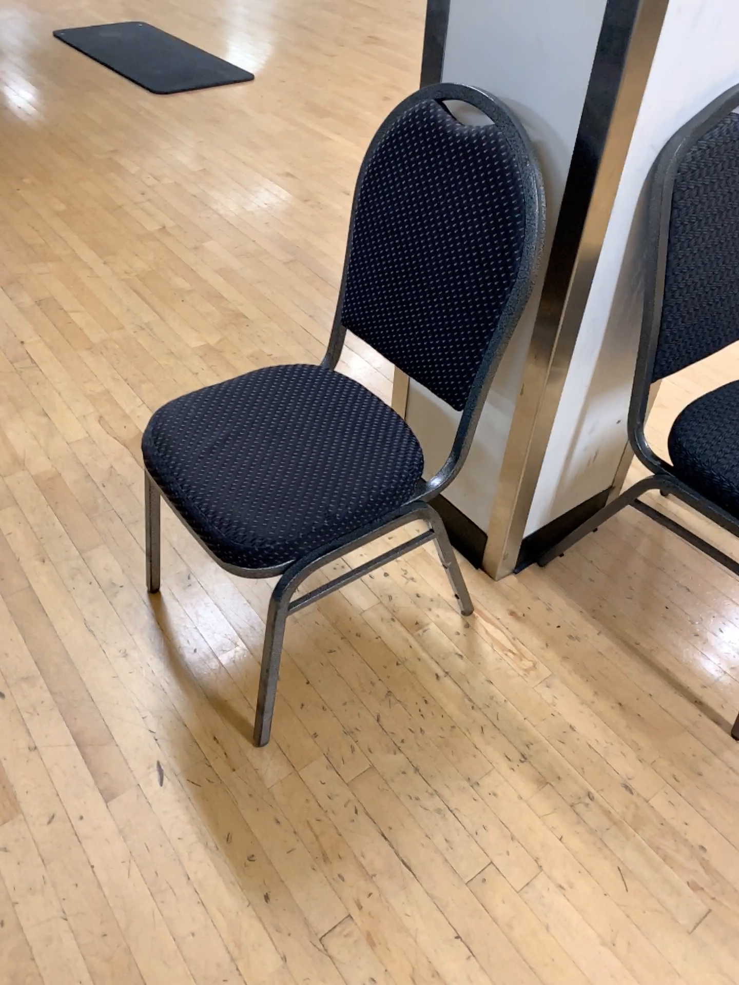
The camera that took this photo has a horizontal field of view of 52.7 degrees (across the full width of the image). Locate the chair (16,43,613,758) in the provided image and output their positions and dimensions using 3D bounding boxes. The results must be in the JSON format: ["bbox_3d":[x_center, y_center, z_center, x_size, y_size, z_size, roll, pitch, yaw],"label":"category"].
[{"bbox_3d":[-0.089,-0.121,1.213,0.554,0.921,0.463,-25,51,-27],"label":"chair"}]

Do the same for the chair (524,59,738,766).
[{"bbox_3d":[0.703,-0.108,1.239,0.462,0.921,0.555,-24,50,-26],"label":"chair"}]
